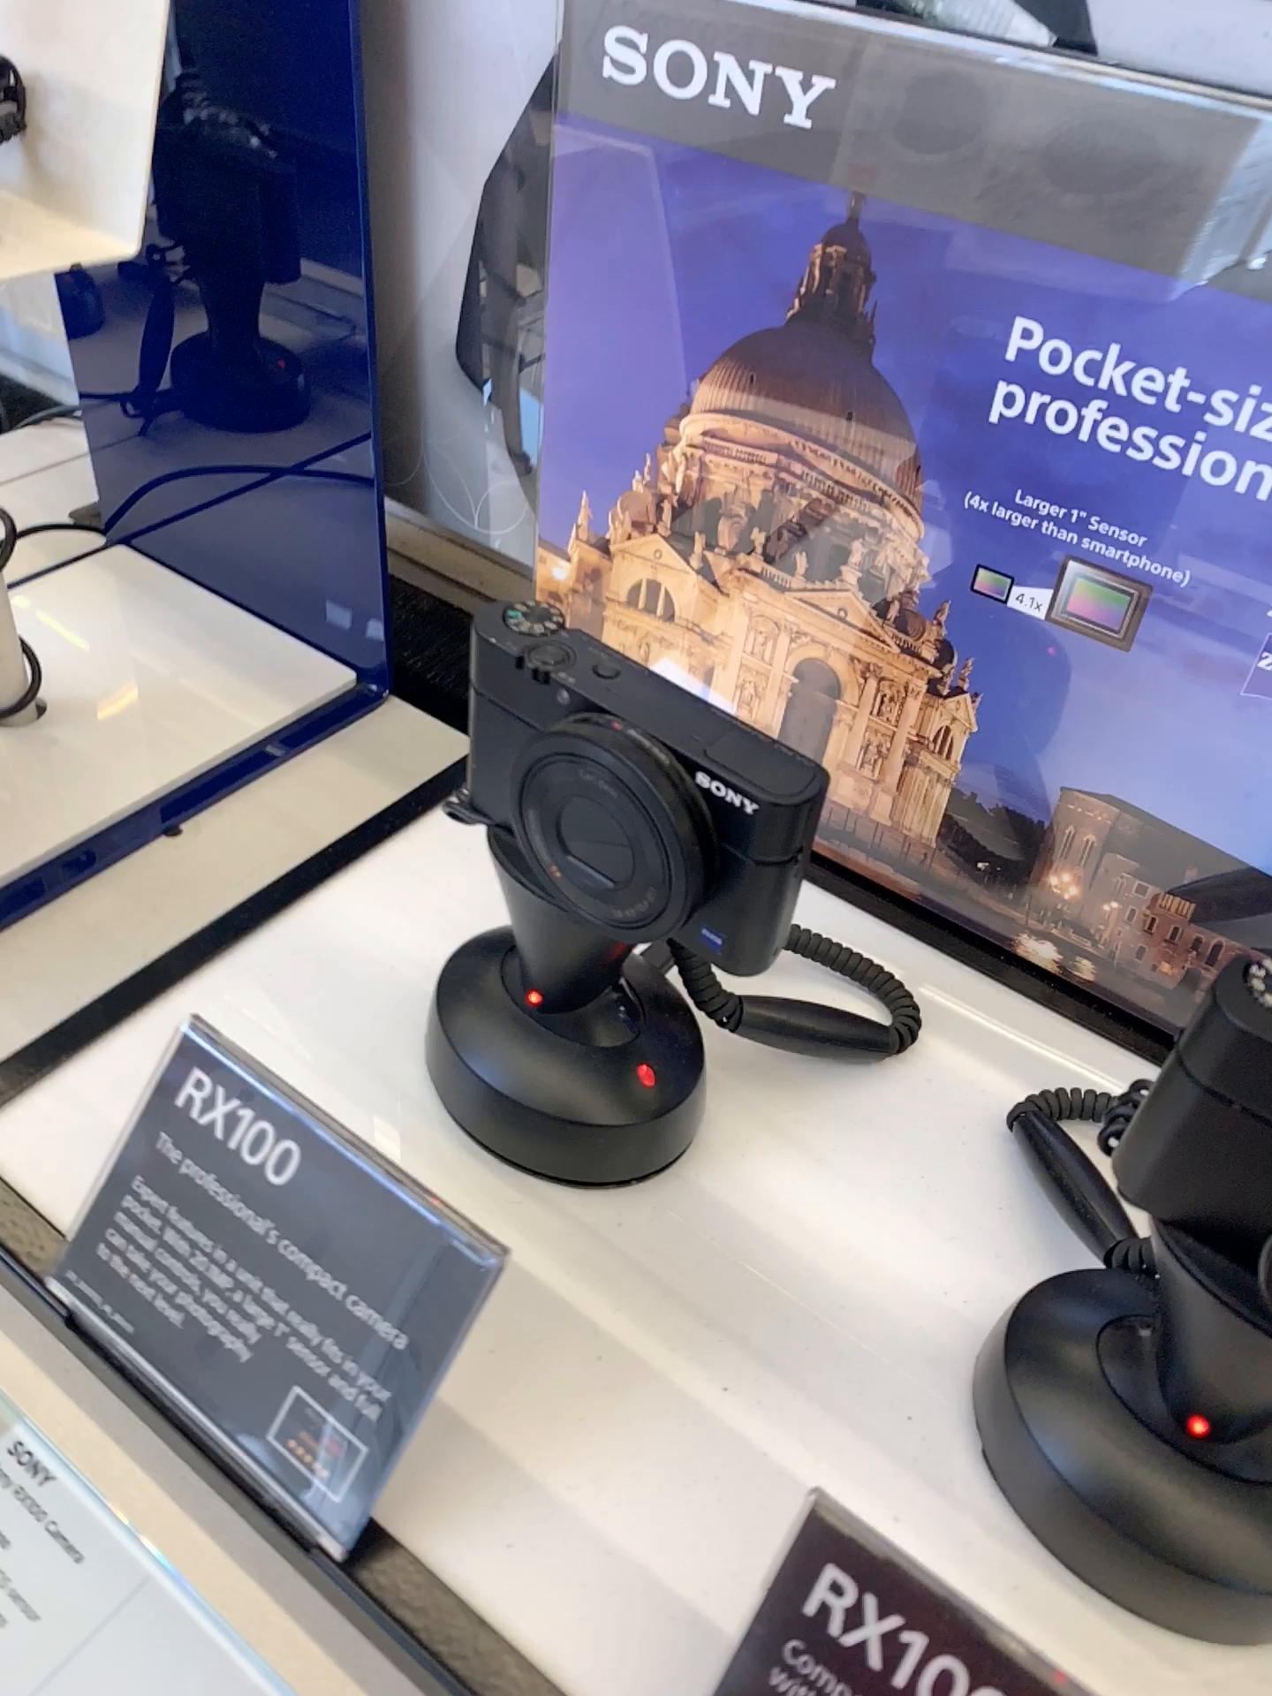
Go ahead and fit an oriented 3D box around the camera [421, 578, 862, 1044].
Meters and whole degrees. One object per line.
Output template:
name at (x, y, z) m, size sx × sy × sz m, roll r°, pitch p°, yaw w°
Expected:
camera at (-0.003, -0.011, 0.326) m, size 0.100 × 0.069 × 0.040 m, roll 30°, pitch 46°, yaw 25°
